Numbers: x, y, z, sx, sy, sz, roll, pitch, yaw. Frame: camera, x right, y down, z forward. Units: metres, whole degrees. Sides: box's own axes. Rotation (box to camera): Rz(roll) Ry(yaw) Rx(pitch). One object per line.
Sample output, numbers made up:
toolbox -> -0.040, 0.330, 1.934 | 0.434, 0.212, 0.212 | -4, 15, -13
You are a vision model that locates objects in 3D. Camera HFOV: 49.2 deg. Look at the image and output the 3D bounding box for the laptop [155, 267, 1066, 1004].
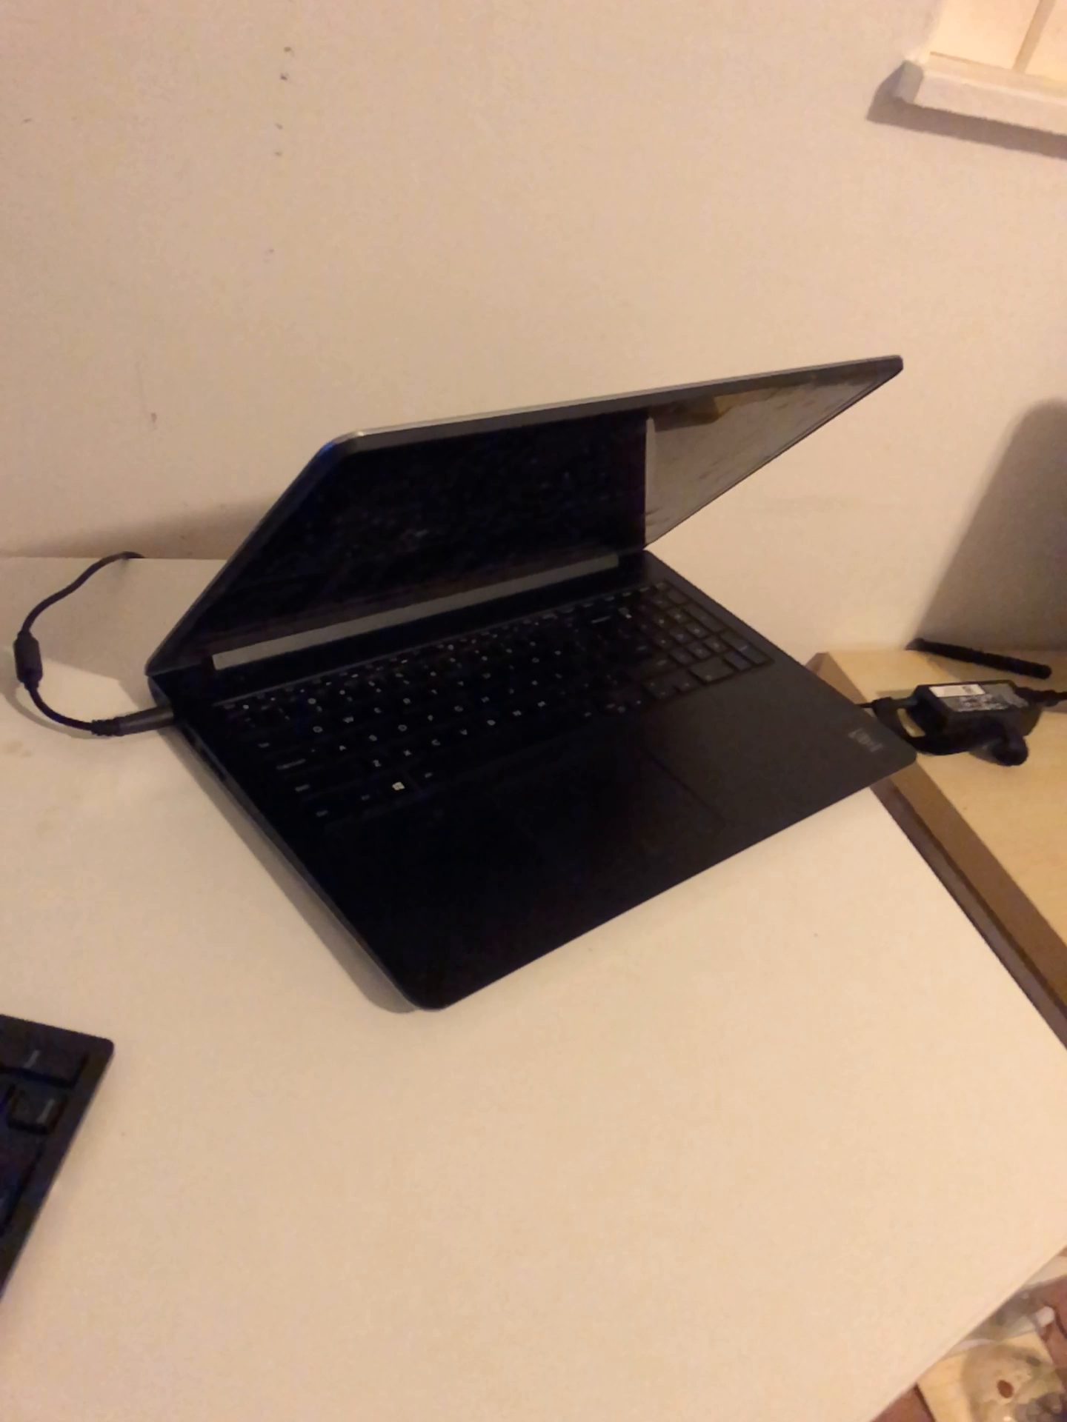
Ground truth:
laptop -> 0.039, -0.076, 0.615 | 0.374, 0.207, 0.251 | -19, 48, -36
